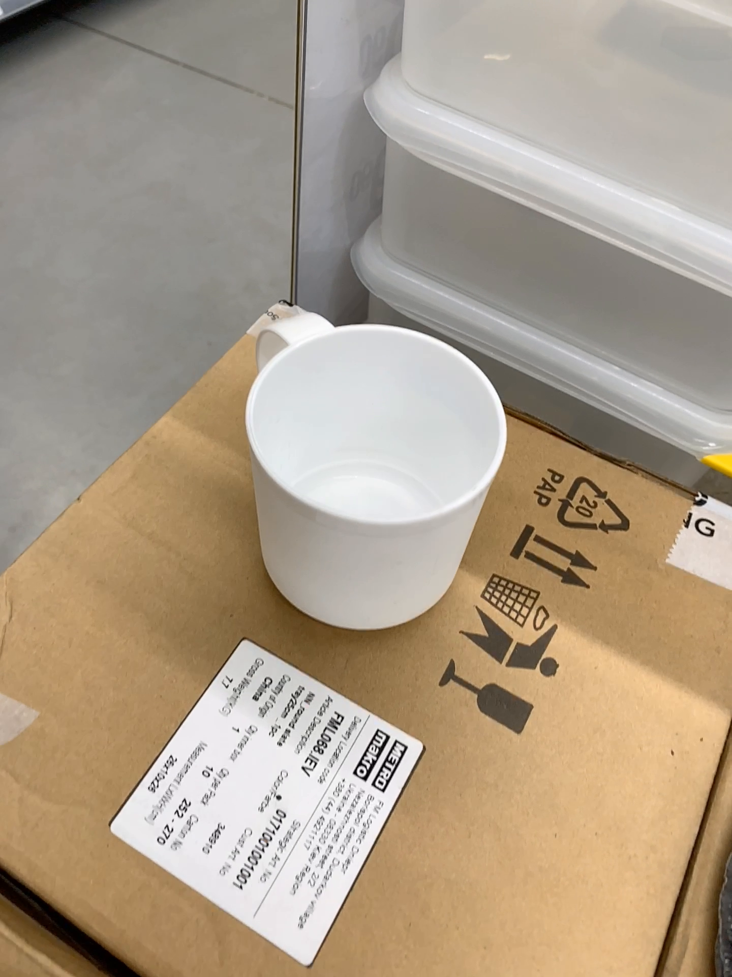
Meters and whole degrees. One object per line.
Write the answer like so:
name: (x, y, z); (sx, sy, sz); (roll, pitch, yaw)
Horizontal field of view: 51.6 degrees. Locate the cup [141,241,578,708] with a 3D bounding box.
cup: (-0.008, -0.008, 0.252); (0.080, 0.075, 0.113); (-26, 60, -22)
